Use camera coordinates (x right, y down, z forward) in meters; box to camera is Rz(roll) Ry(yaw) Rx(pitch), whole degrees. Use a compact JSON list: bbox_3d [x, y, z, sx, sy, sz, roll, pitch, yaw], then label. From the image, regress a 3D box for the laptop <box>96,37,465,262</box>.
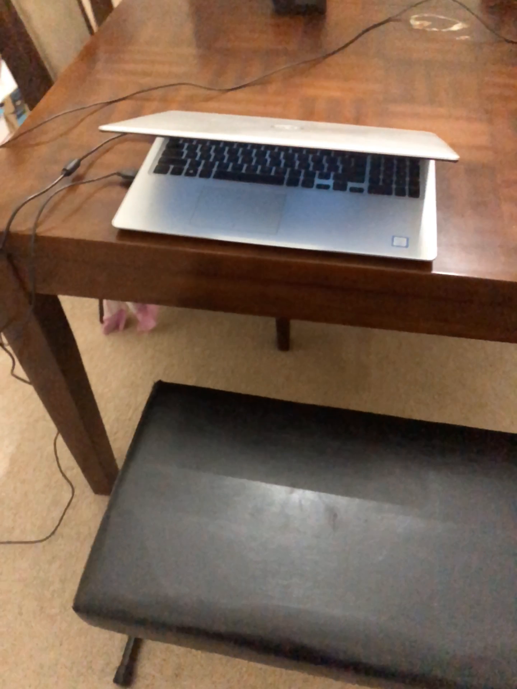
[{"bbox_3d":[0.034,-0.243,0.677,0.368,0.103,0.250,7,52,8],"label":"laptop"}]
